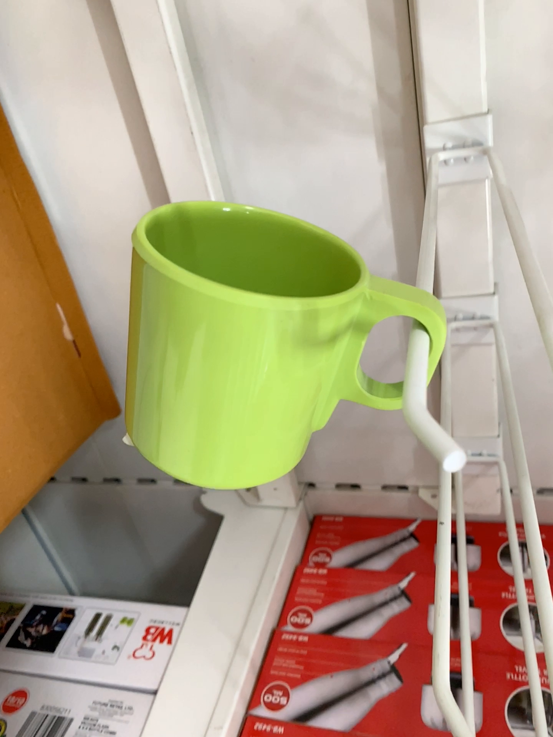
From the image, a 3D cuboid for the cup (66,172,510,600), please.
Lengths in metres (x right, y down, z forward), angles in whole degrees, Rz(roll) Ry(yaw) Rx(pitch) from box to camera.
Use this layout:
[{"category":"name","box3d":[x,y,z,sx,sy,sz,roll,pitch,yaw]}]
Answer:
[{"category":"cup","box3d":[0.003,-0.001,0.203,0.100,0.110,0.080,-72,180,-55]}]
